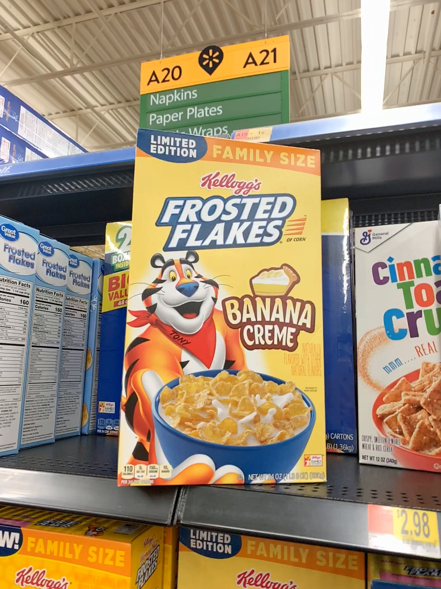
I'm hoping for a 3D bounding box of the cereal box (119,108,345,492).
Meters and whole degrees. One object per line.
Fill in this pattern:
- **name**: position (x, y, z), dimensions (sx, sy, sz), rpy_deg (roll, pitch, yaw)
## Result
- **cereal box**: position (0.012, 0.005, 0.455), dimensions (0.200, 0.341, 0.080), rpy_deg (4, -10, -11)
